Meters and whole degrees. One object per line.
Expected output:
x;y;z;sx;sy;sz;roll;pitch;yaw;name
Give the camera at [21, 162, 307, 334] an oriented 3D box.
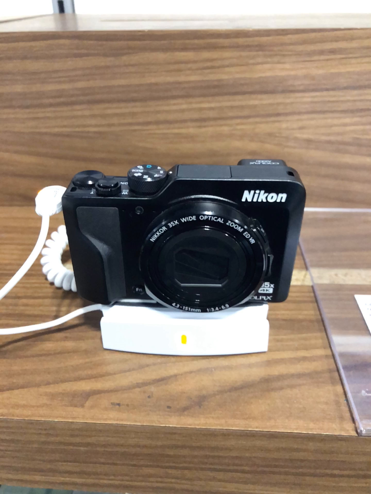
-0.008;-0.001;0.213;0.120;0.070;0.050;1;30;4;camera
